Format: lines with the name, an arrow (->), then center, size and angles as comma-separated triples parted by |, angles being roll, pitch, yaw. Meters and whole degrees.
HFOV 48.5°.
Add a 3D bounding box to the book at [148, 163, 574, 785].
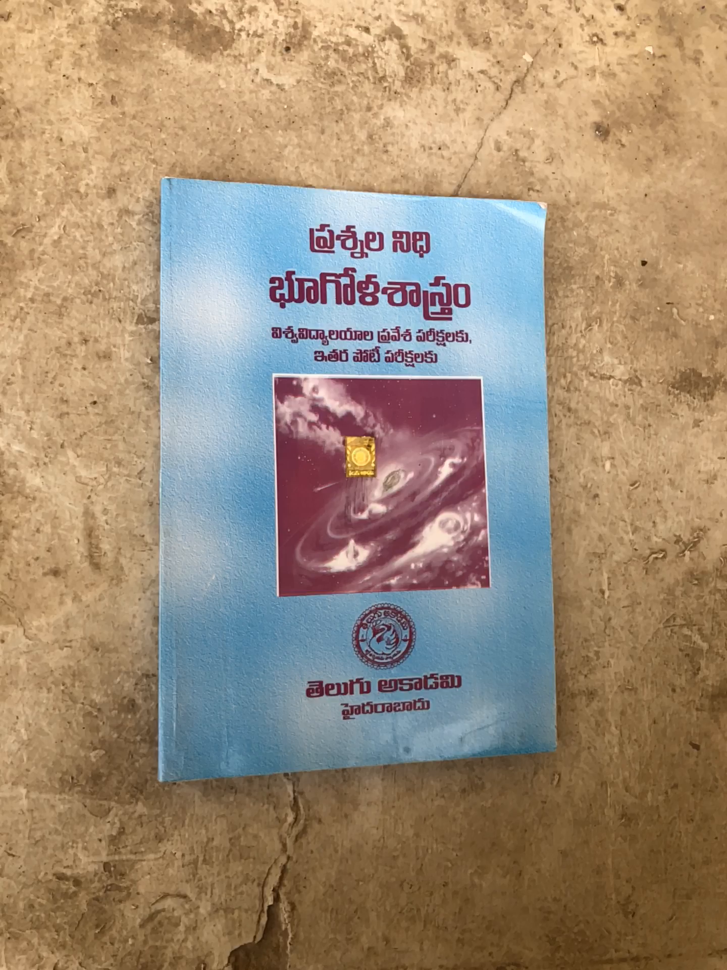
book -> -0.002, -0.009, 0.389 | 0.190, 0.040, 0.270 | -1, 86, -12
